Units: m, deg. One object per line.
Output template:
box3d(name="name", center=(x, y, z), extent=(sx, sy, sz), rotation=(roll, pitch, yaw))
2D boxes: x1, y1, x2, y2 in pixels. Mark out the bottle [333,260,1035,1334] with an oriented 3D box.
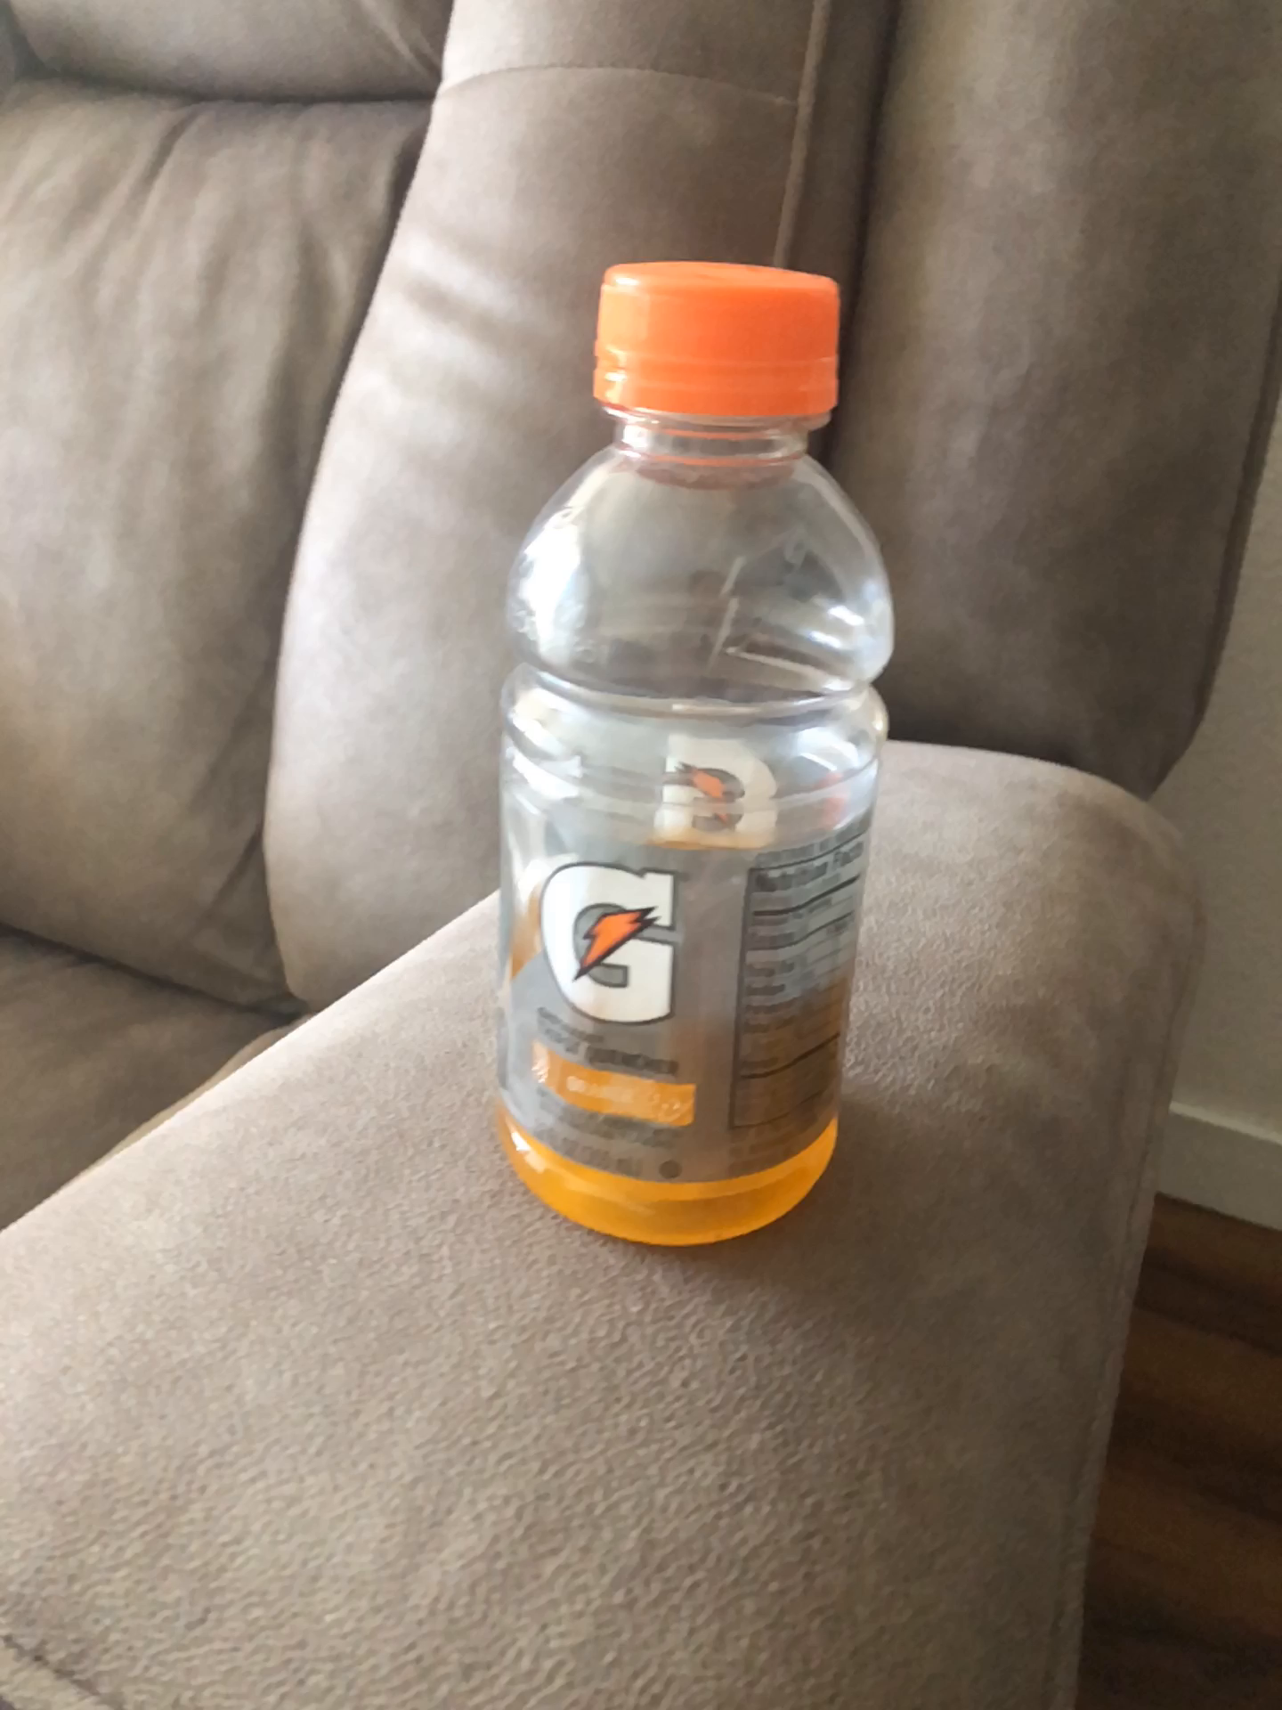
box3d(name="bottle", center=(0.005, -0.012, 0.237), extent=(0.070, 0.149, 0.070), rotation=(1, 29, 0))
